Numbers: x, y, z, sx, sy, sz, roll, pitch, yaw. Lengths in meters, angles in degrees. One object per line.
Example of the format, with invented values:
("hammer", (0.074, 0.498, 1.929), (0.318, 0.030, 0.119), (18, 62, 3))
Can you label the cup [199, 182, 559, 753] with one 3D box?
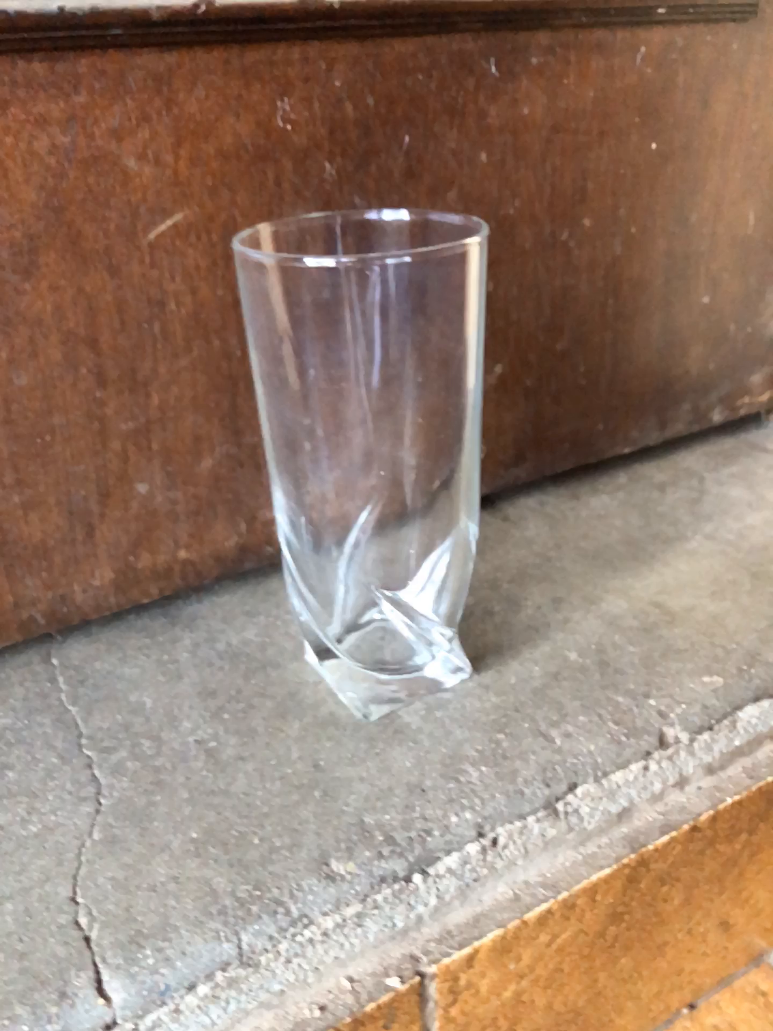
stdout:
("cup", (0.000, -0.016, 0.251), (0.070, 0.139, 0.060), (-18, 31, -27))
